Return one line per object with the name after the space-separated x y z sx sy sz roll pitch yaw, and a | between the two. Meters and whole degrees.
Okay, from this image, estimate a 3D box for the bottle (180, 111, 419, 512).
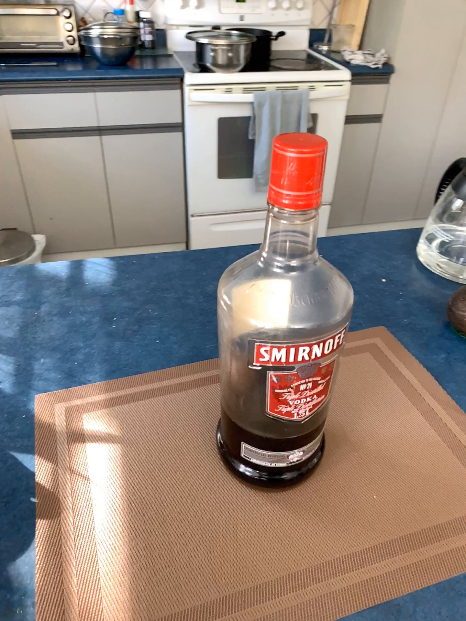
0.033 0.016 0.405 0.120 0.317 0.111 1 36 -1 | bottle
